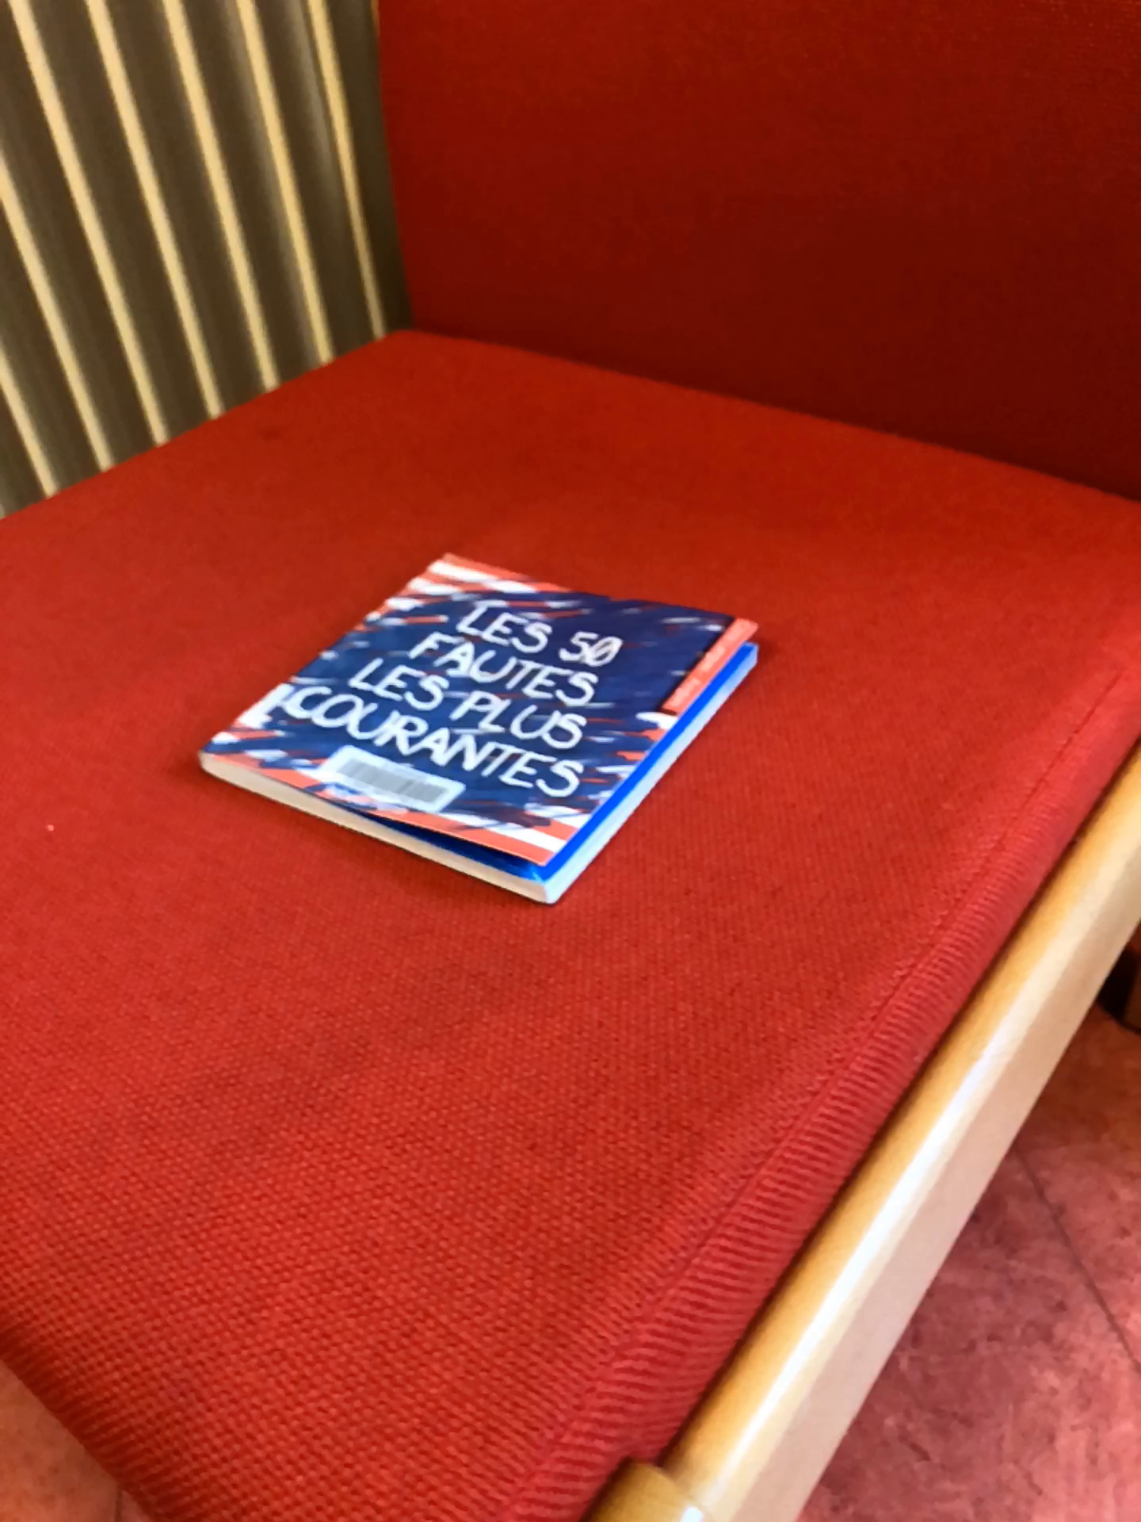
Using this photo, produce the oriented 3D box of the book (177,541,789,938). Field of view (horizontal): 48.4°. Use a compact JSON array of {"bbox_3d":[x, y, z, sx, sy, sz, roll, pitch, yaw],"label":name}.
[{"bbox_3d":[-0.025,-0.019,0.434,0.148,0.020,0.149,19,43,27],"label":"book"}]
